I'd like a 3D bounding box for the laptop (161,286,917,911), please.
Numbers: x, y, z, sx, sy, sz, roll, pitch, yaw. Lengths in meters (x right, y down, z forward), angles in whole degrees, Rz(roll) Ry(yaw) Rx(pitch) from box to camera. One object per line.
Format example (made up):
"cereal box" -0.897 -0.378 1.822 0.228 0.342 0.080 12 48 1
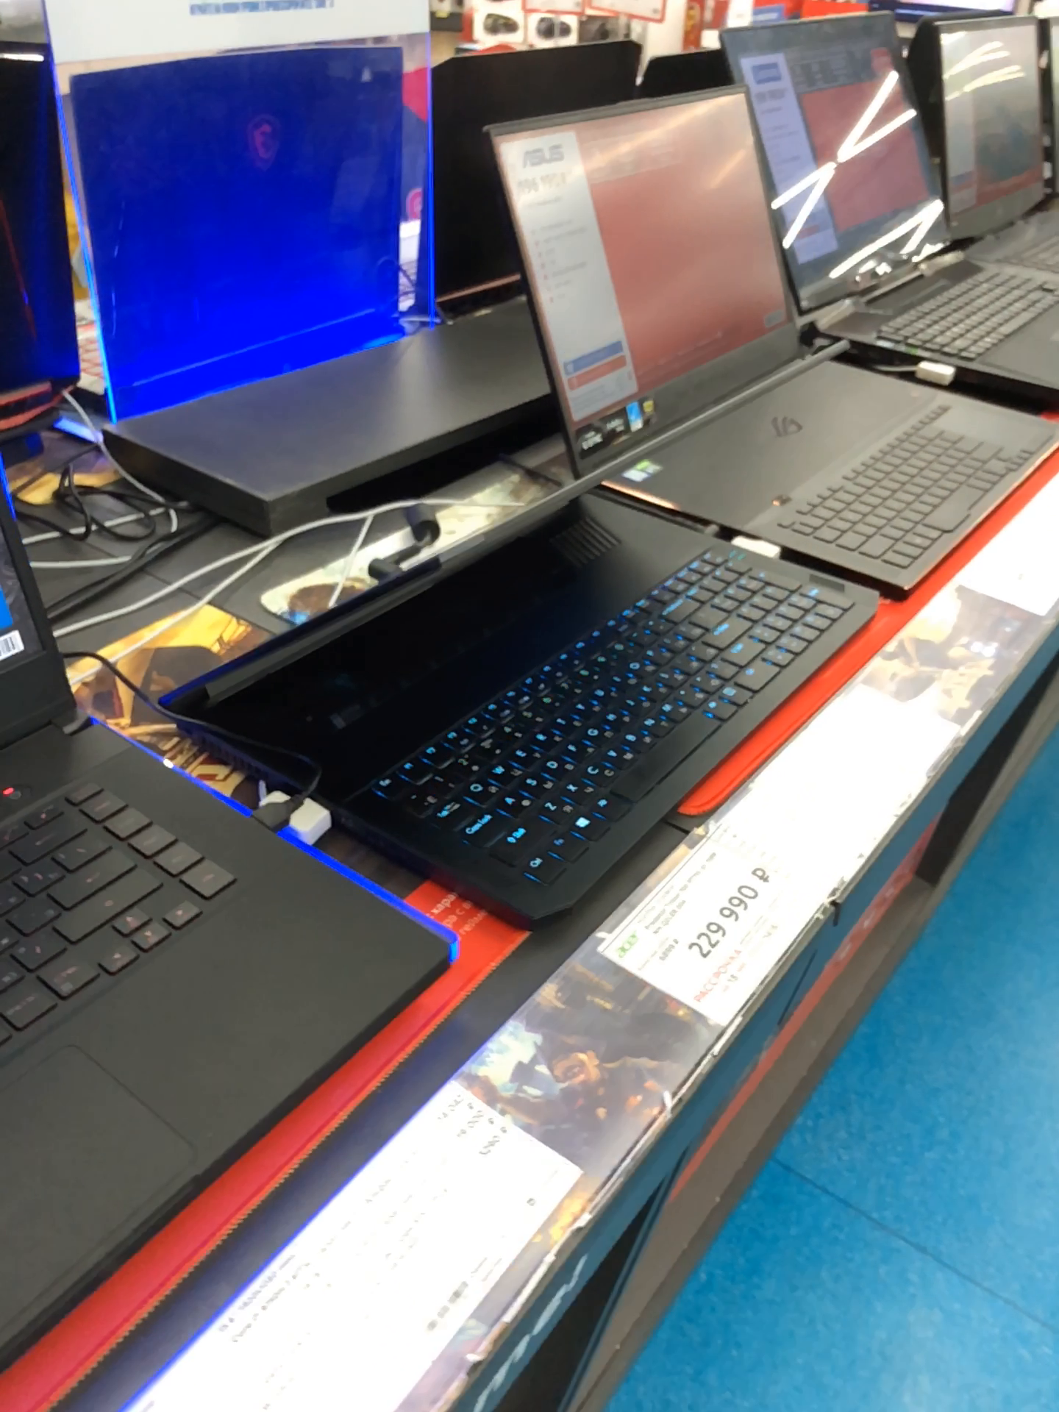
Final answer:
"laptop" 0.027 -0.097 0.657 0.226 0.152 0.371 25 40 27

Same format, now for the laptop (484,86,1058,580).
"laptop" 0.226 -0.330 0.938 0.363 0.235 0.373 24 40 28
